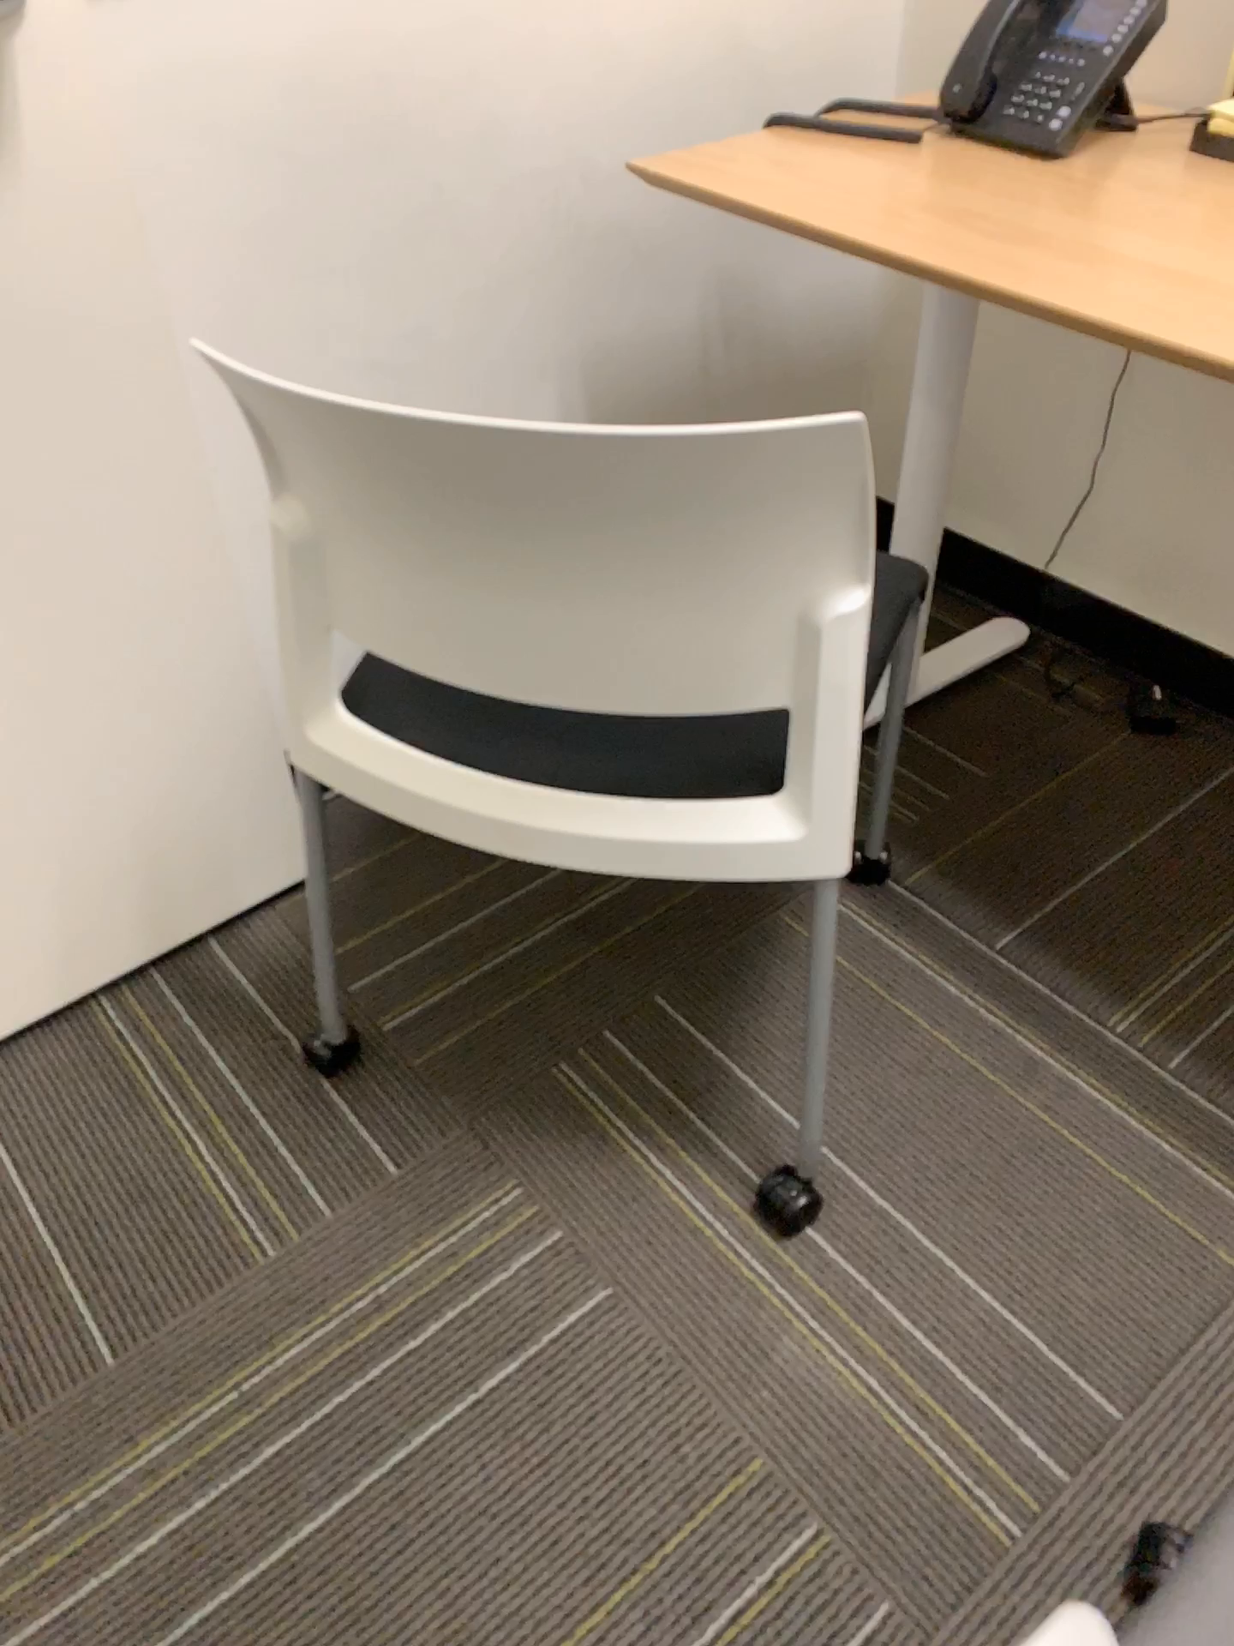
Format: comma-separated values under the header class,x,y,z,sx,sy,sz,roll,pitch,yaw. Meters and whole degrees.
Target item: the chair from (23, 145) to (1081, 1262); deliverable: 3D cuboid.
class,x,y,z,sx,sy,sz,roll,pitch,yaw
chair,0.006,-0.133,1.187,0.611,0.755,0.582,14,44,18
